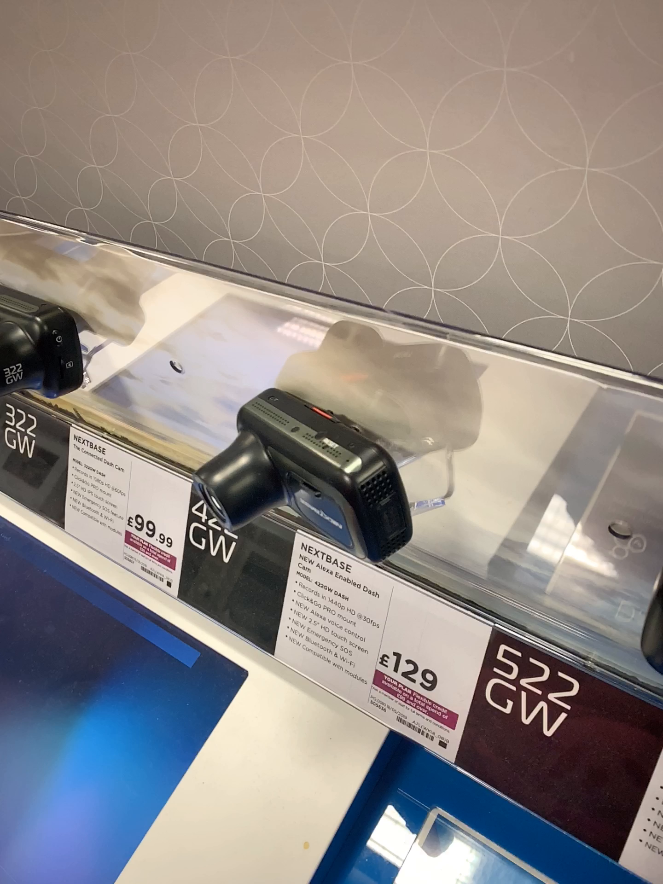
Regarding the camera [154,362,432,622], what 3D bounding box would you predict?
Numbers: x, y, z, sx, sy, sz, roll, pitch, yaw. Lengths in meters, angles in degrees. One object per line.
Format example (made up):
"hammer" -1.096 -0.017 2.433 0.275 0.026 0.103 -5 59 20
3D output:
"camera" -0.016 0.012 0.244 0.050 0.040 0.091 -33 37 -22
